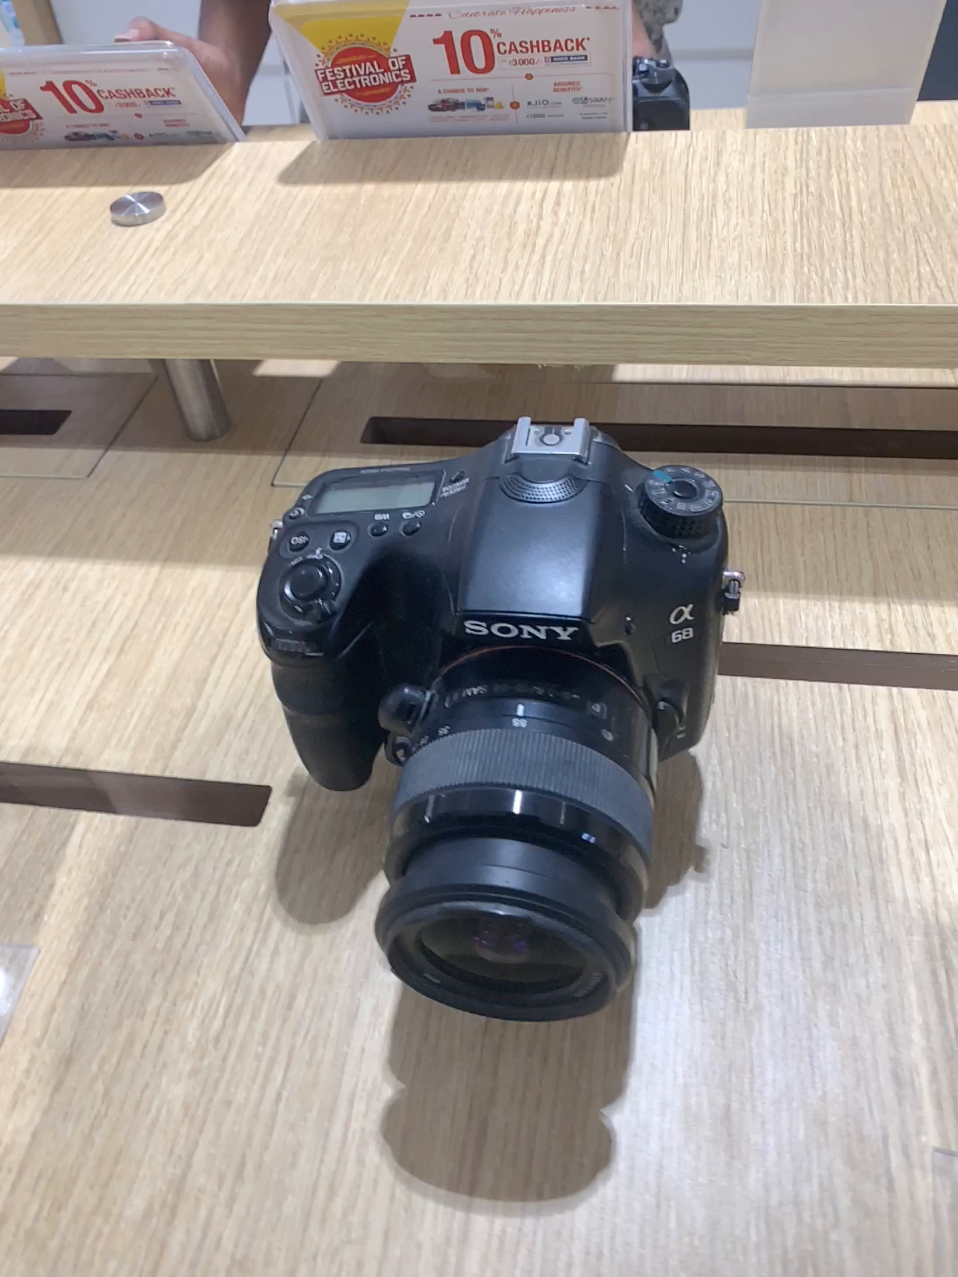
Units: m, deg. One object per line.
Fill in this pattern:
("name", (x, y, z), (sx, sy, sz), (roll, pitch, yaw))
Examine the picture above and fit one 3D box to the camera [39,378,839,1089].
("camera", (0.004, 0.016, 0.267), (0.150, 0.100, 0.150), (4, 47, 10))
